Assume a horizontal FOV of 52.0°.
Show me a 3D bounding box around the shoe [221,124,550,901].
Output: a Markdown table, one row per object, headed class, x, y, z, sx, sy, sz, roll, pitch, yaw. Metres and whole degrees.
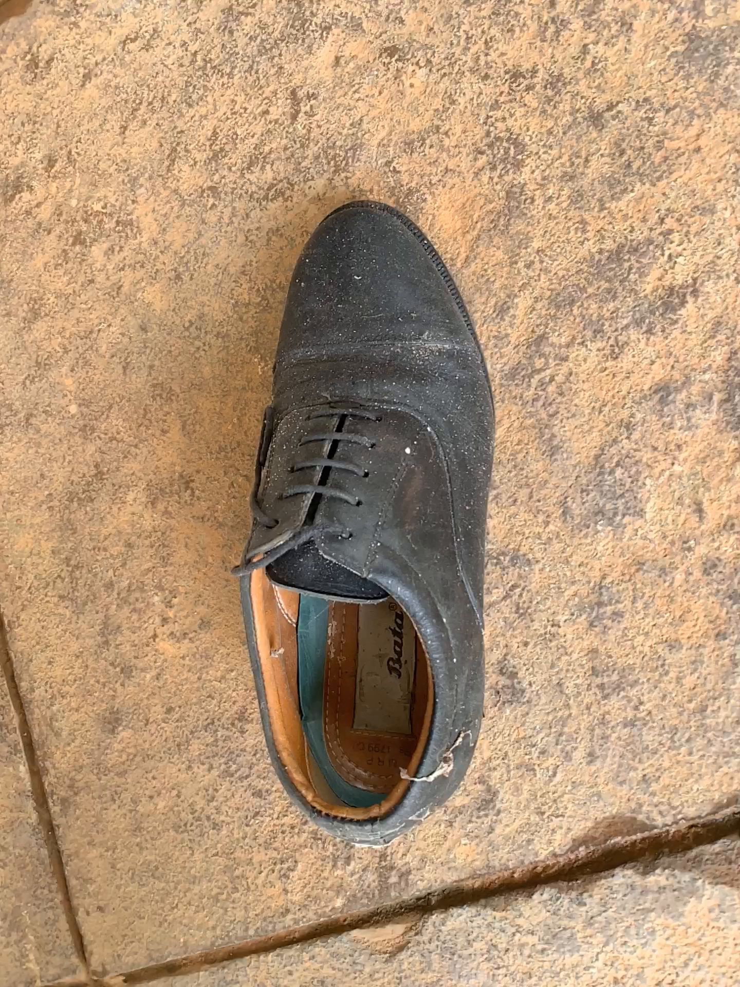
| class | x | y | z | sx | sy | sz | roll | pitch | yaw |
| --- | --- | --- | --- | --- | --- | --- | --- | --- | --- |
| shoe | 0.009 | 0.007 | 0.321 | 0.100 | 0.090 | 0.270 | -6 | 83 | 20 |
